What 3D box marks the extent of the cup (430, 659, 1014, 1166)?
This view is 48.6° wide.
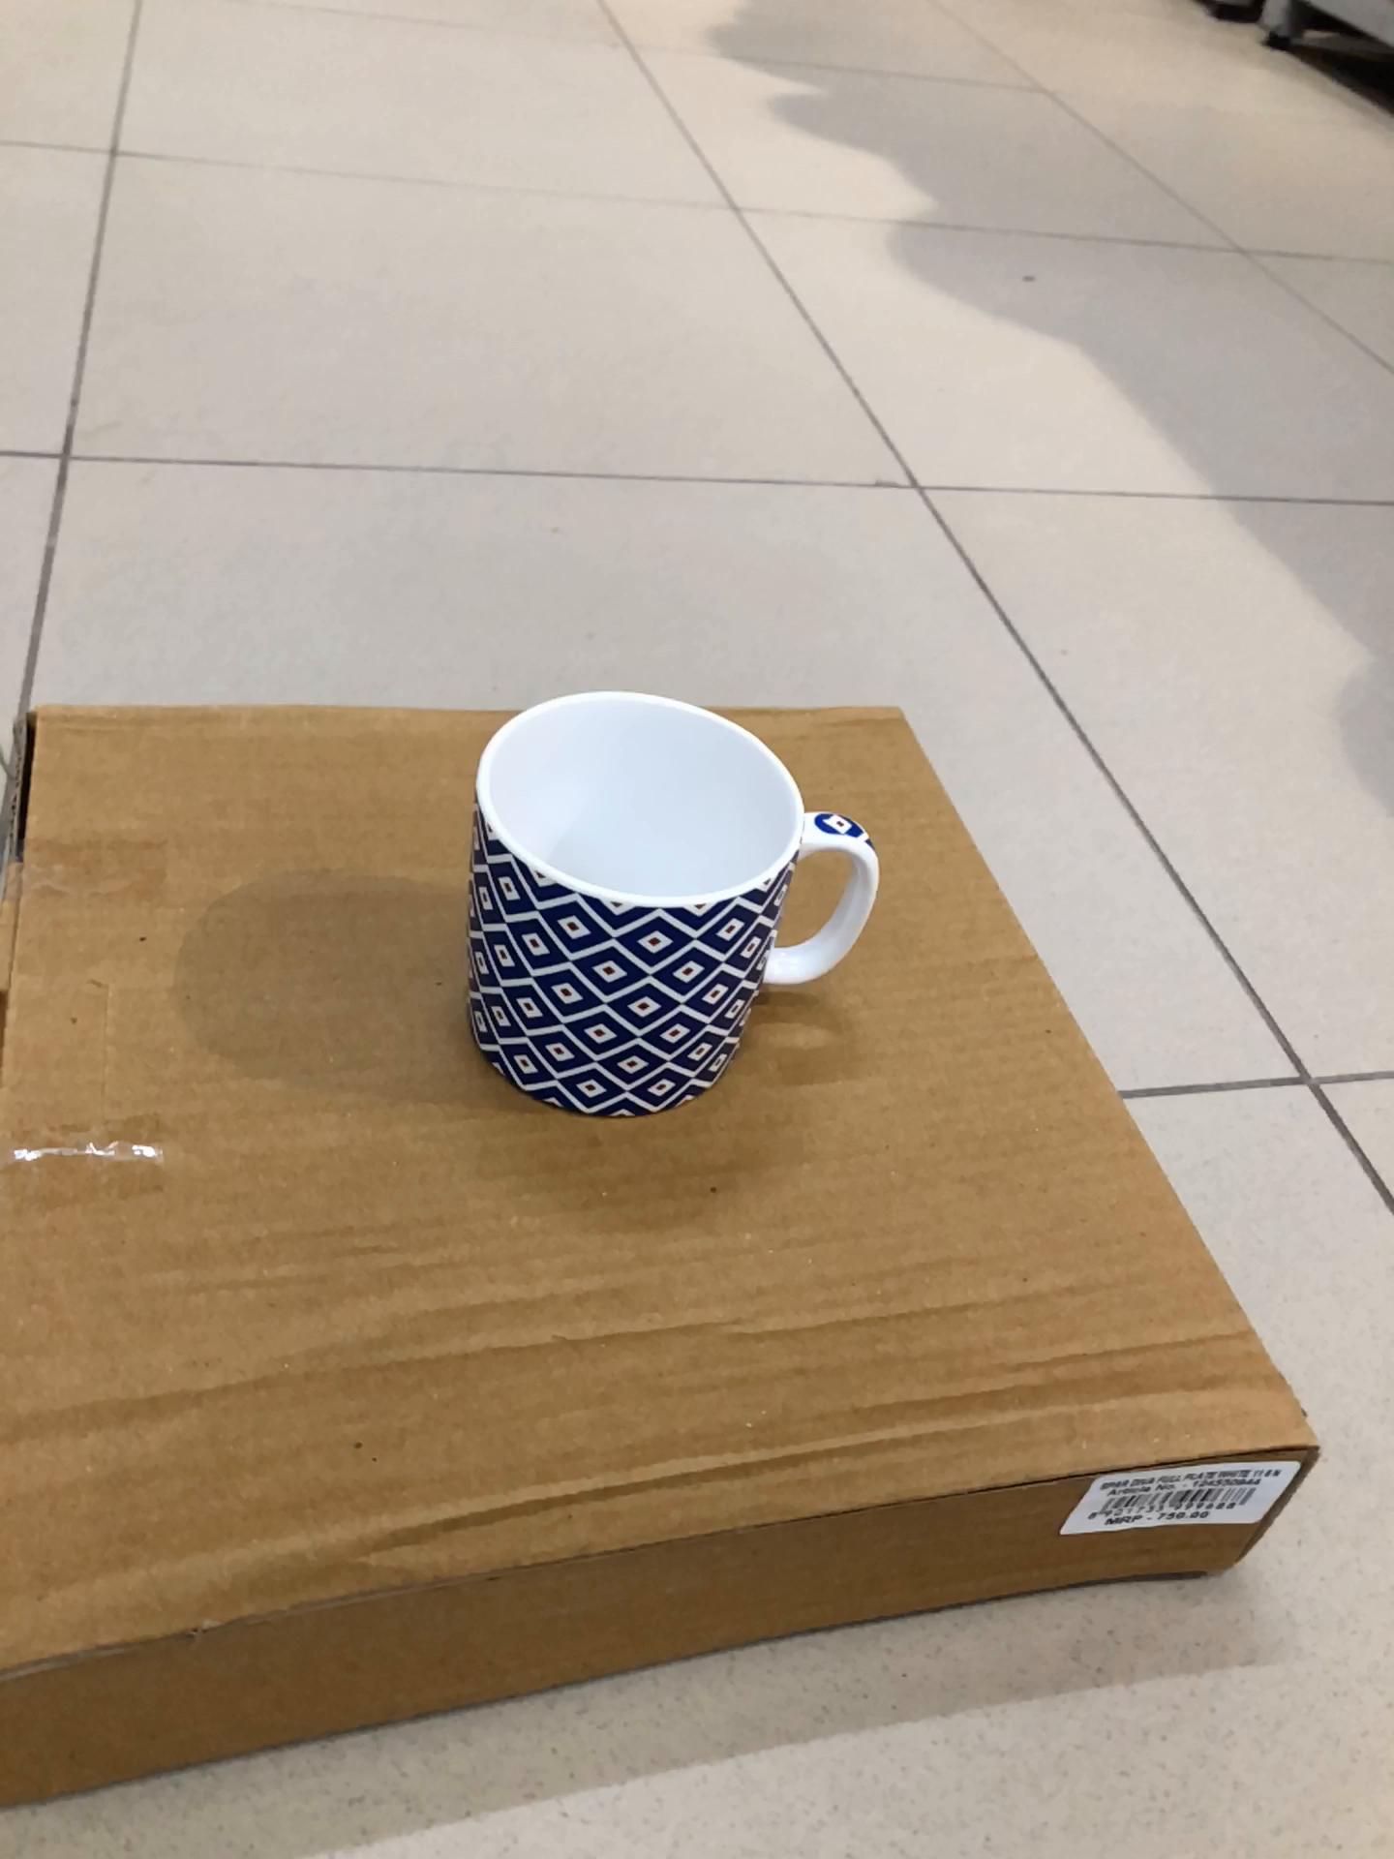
[{"bbox_3d":[-0.001,-0.007,0.365,0.110,0.079,0.080,-4,43,-16],"label":"cup"}]
